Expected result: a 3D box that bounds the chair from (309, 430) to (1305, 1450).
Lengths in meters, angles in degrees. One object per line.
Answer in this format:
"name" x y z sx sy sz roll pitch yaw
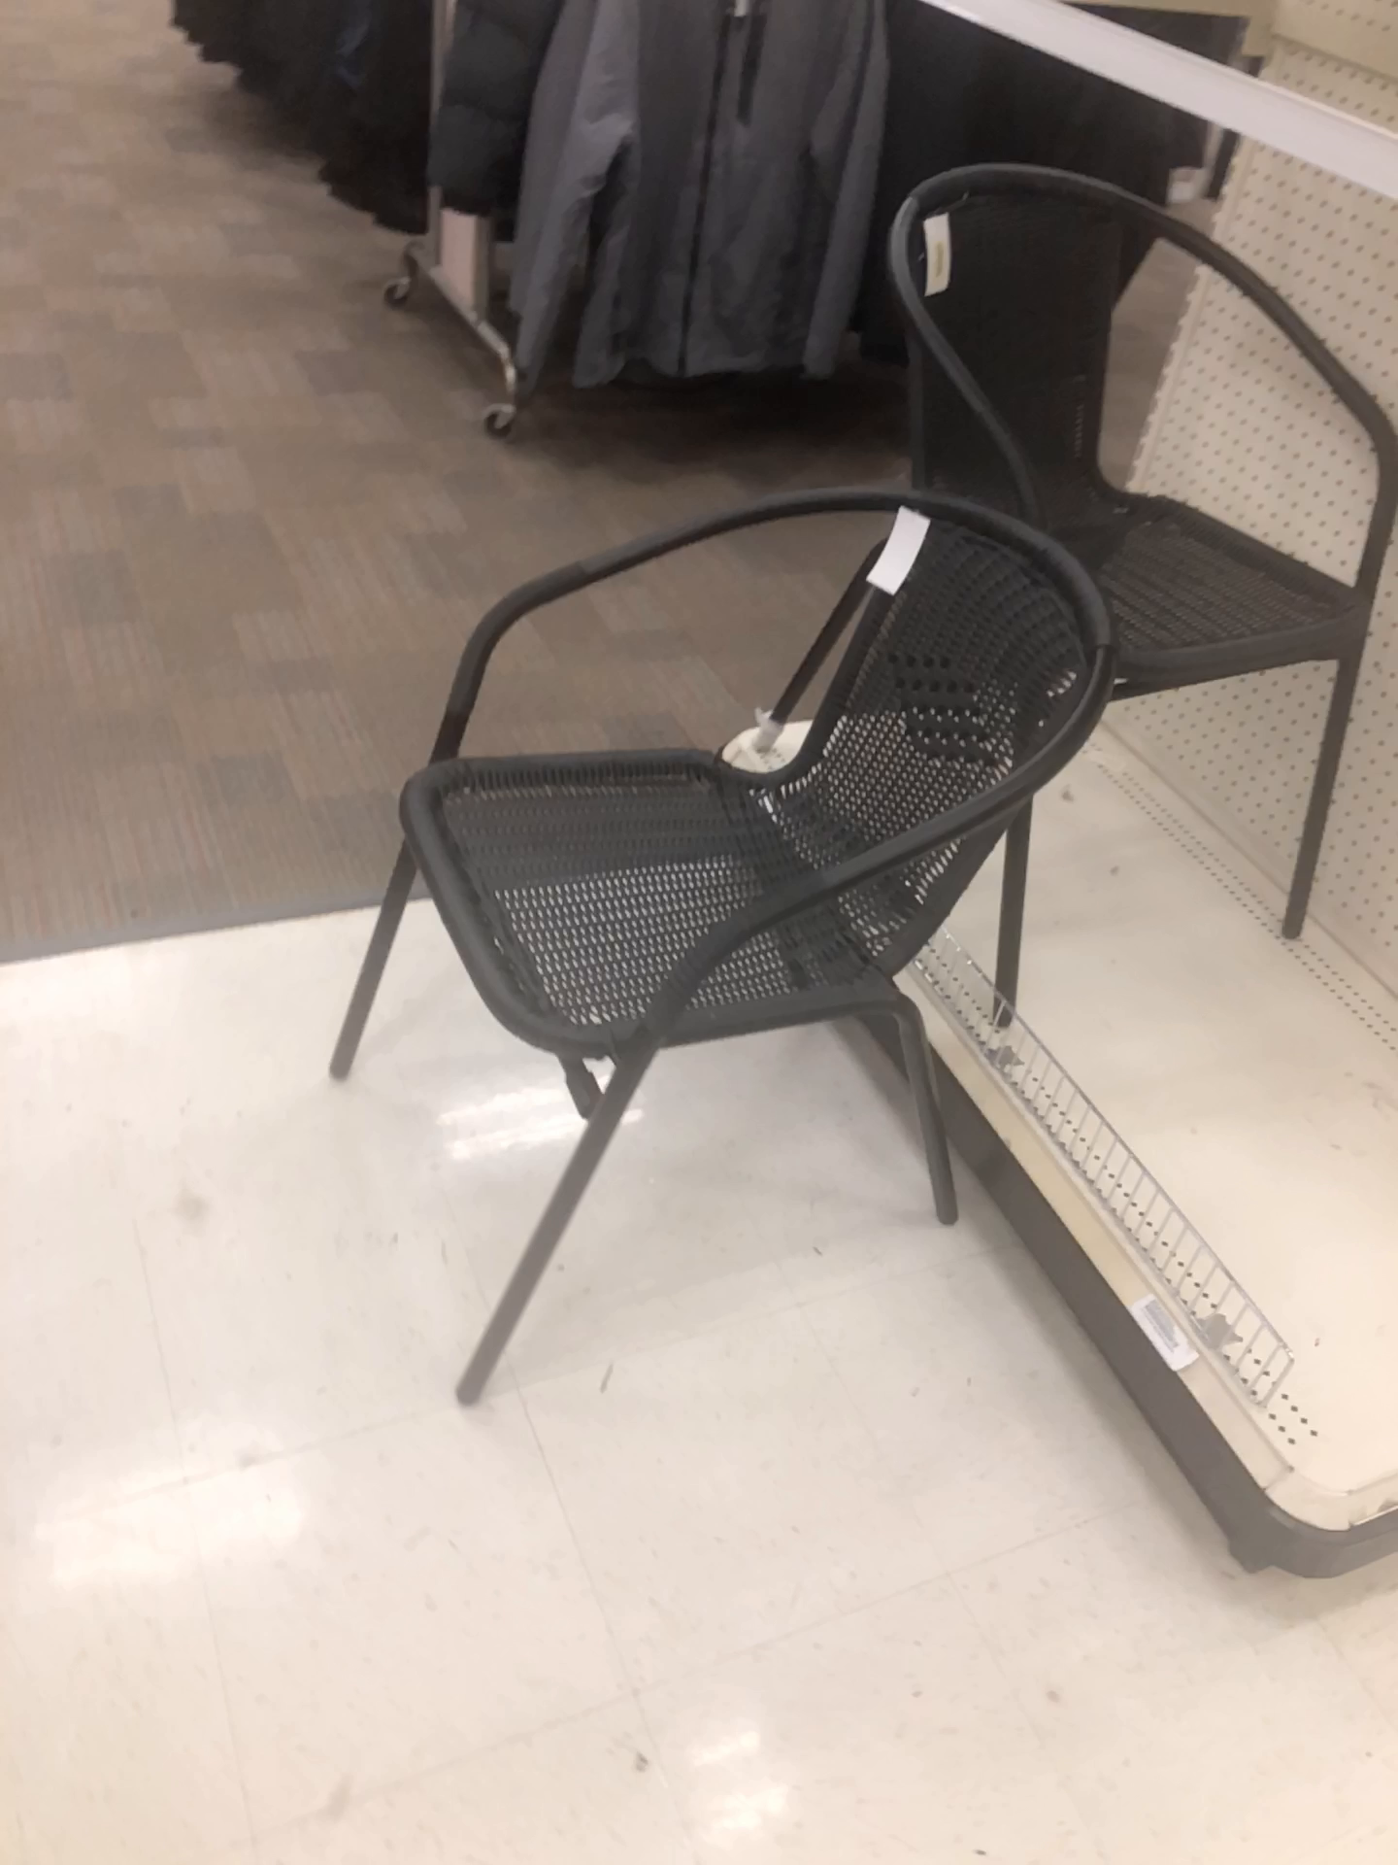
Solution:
"chair" 0.013 -0.023 1.433 0.641 0.696 0.532 -8 42 -22
